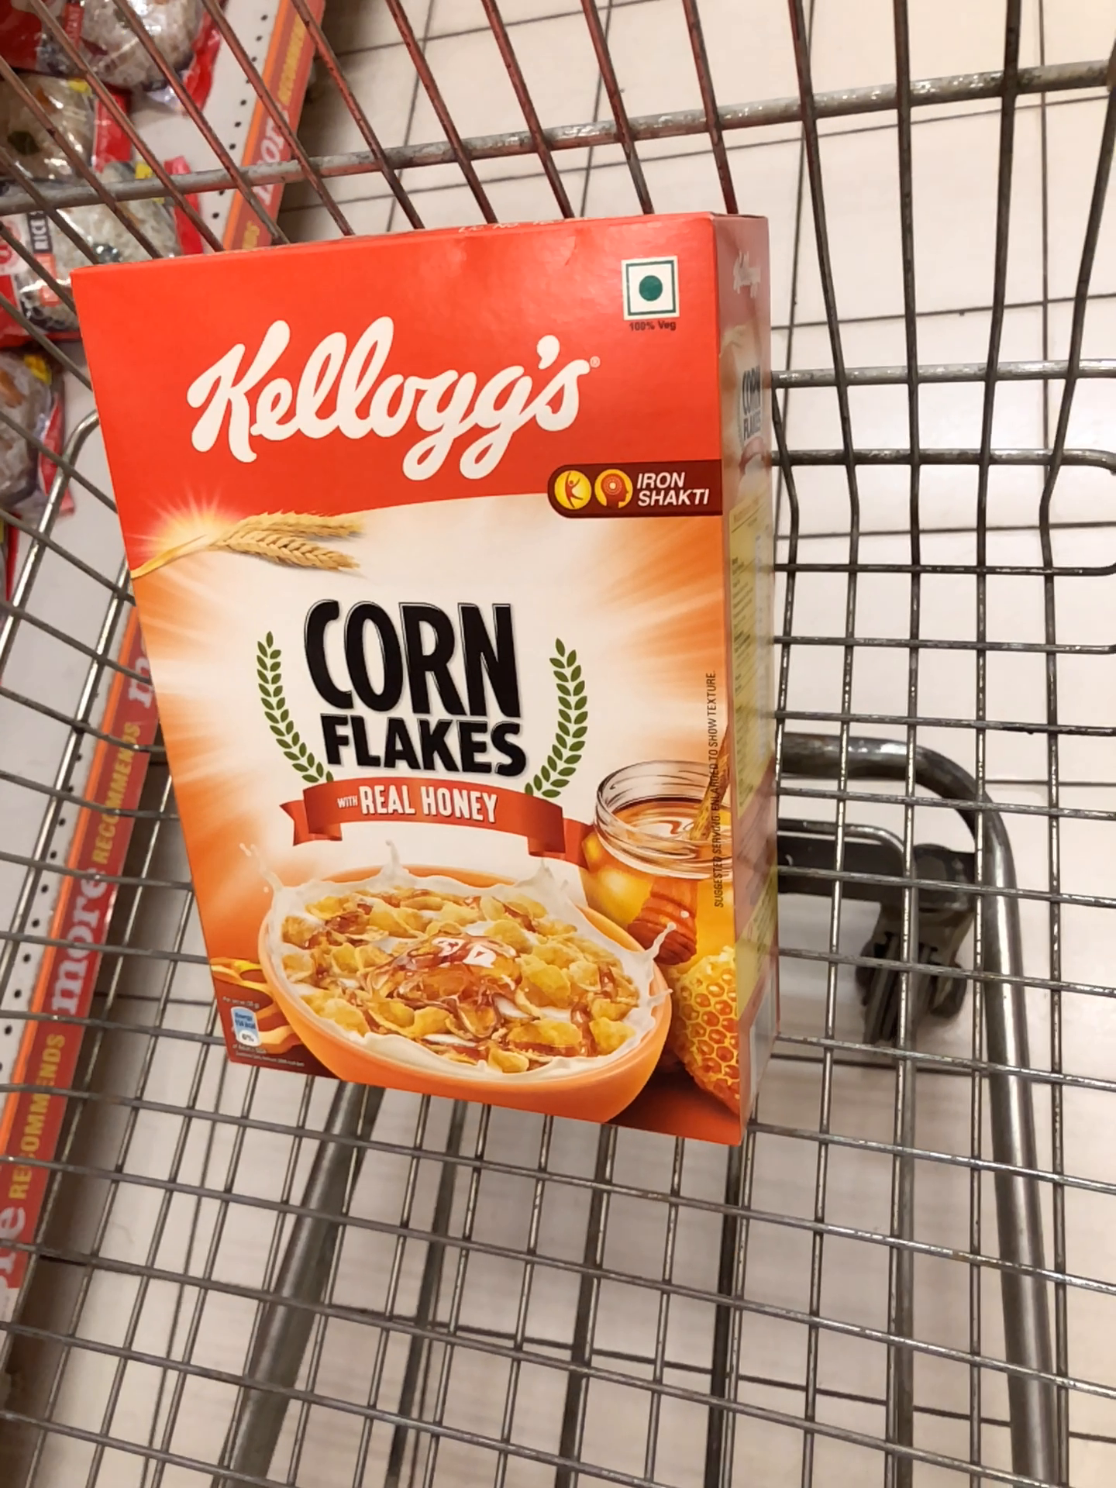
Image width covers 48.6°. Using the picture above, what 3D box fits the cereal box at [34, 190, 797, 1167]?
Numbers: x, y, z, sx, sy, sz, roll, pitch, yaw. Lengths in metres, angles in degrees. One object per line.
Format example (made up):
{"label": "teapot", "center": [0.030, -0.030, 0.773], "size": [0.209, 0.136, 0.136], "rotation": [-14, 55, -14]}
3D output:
{"label": "cereal box", "center": [-0.029, -0.018, 0.379], "size": [0.190, 0.080, 0.259], "rotation": [3, 112, 20]}
